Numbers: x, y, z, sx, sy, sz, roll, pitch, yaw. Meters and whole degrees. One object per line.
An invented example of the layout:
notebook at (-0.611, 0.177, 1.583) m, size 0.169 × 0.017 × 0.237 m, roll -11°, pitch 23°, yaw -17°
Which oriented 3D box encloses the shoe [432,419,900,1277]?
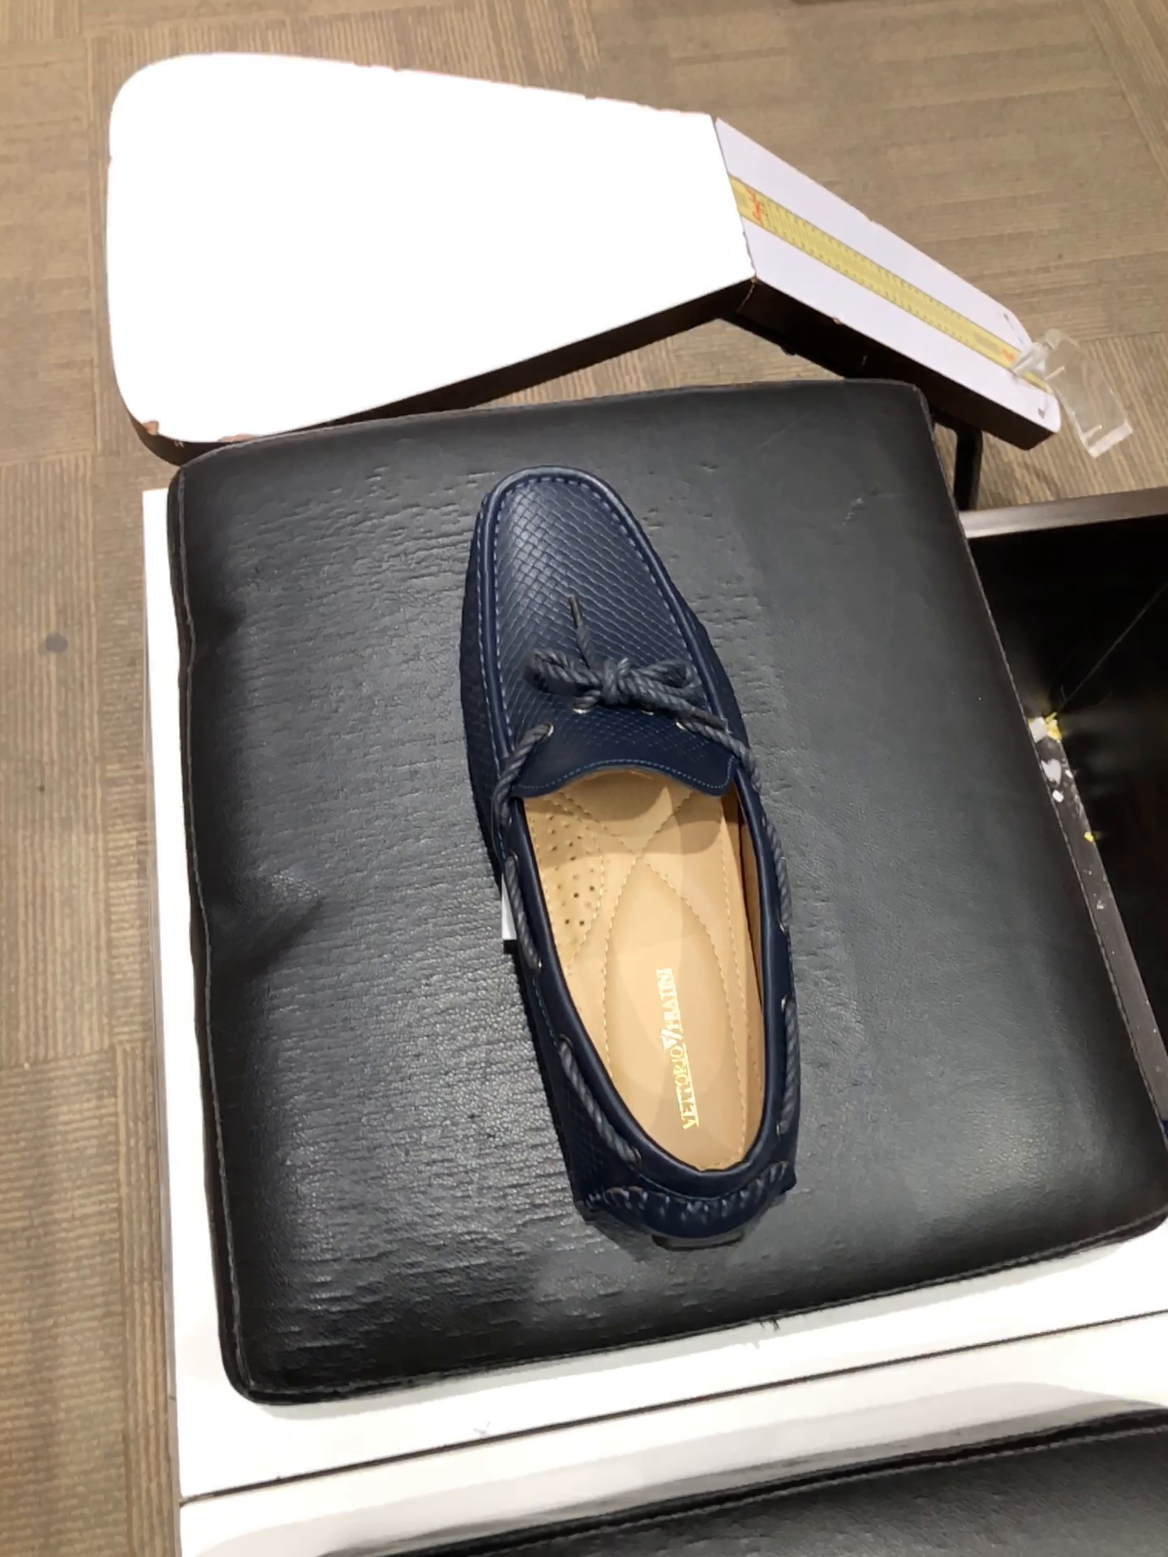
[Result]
shoe at (0.016, 0.018, 0.440) m, size 0.100 × 0.080 × 0.271 m, roll -8°, pitch 68°, yaw -5°
